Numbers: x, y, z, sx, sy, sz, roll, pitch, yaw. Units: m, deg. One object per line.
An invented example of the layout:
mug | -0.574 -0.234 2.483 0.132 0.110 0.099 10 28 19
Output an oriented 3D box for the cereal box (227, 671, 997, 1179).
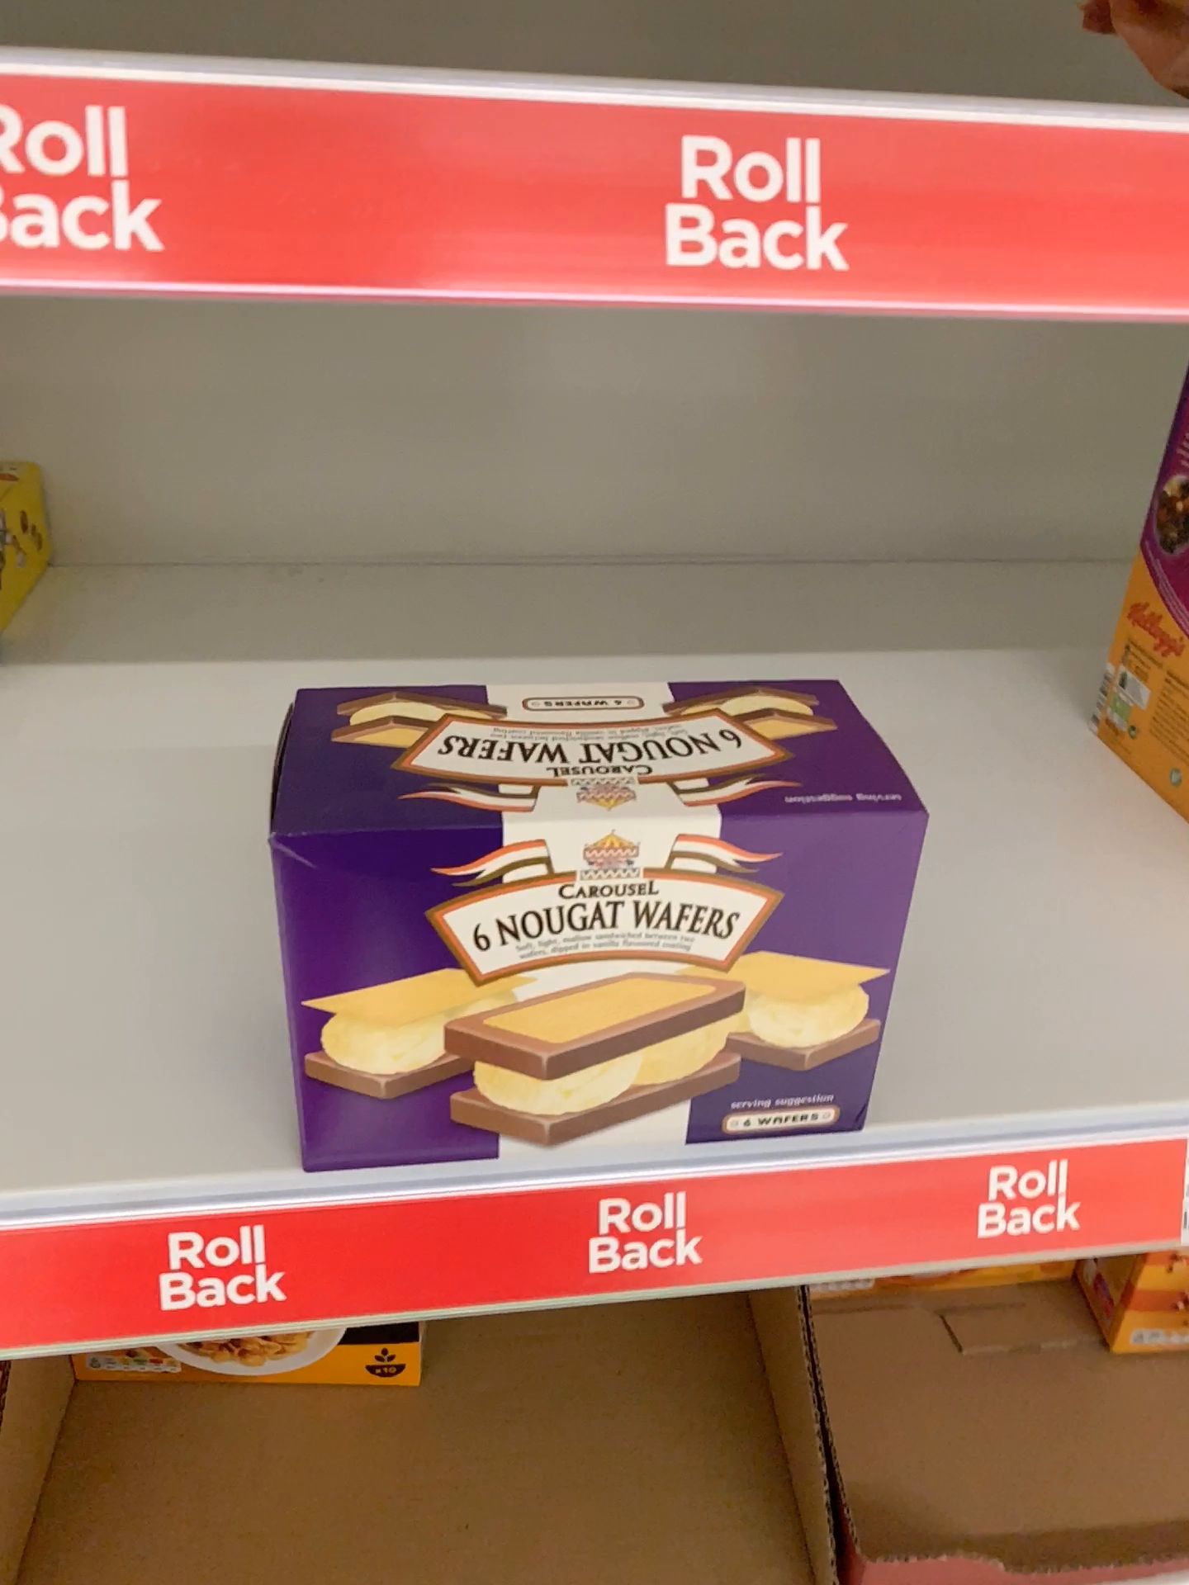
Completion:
cereal box | 0.000 0.034 0.364 0.190 0.109 0.091 -2 31 -8
